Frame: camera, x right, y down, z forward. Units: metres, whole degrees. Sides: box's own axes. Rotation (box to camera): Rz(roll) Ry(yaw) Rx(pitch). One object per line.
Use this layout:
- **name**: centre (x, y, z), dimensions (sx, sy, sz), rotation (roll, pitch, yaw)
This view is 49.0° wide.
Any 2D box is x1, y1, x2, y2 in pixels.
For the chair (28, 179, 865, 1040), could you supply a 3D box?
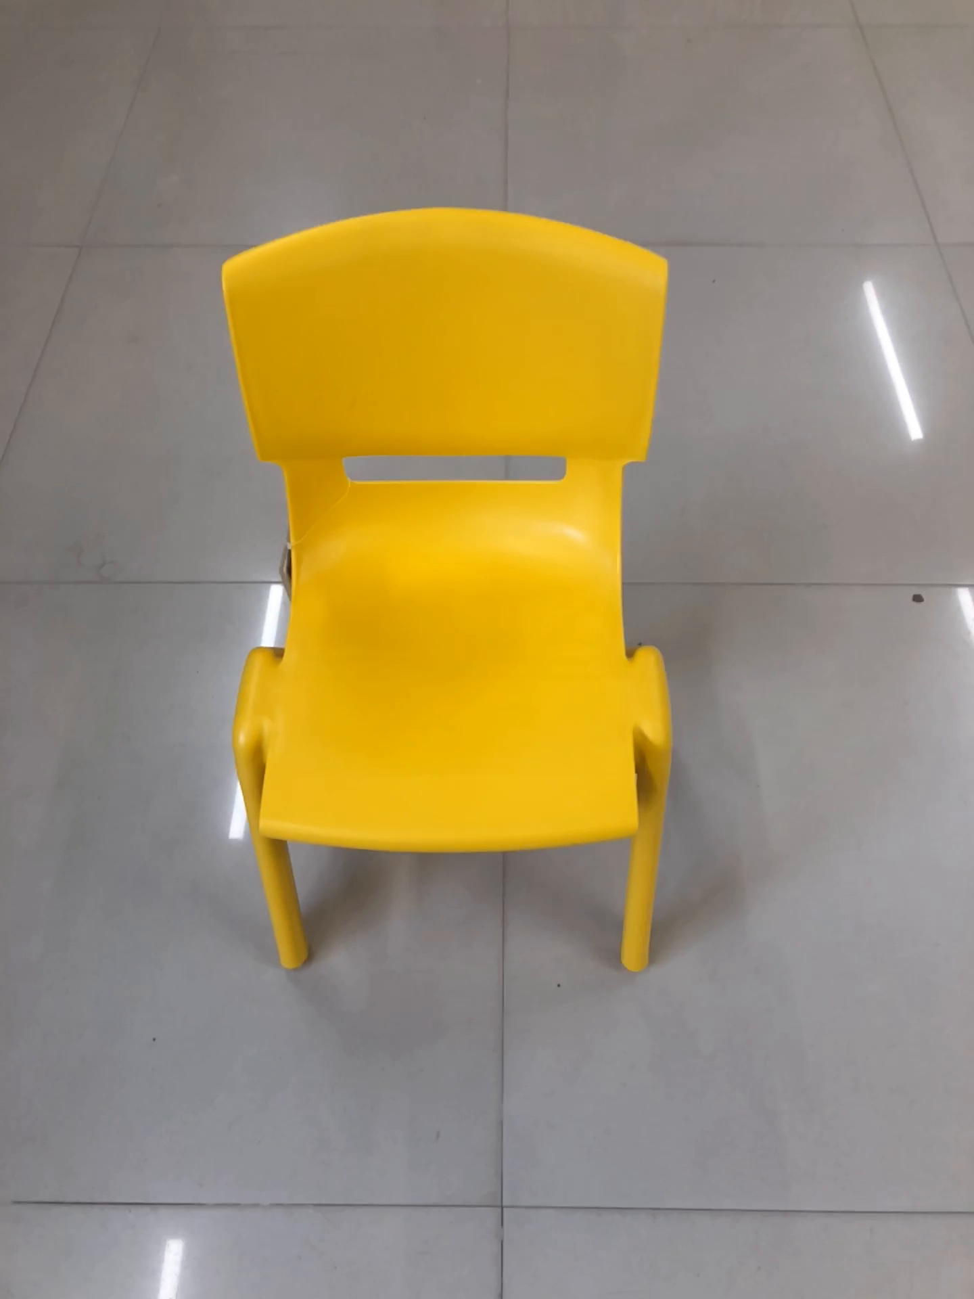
- **chair**: centre (-0.017, -0.014, 0.752), dimensions (0.360, 0.398, 0.452), rotation (-1, 56, 0)
